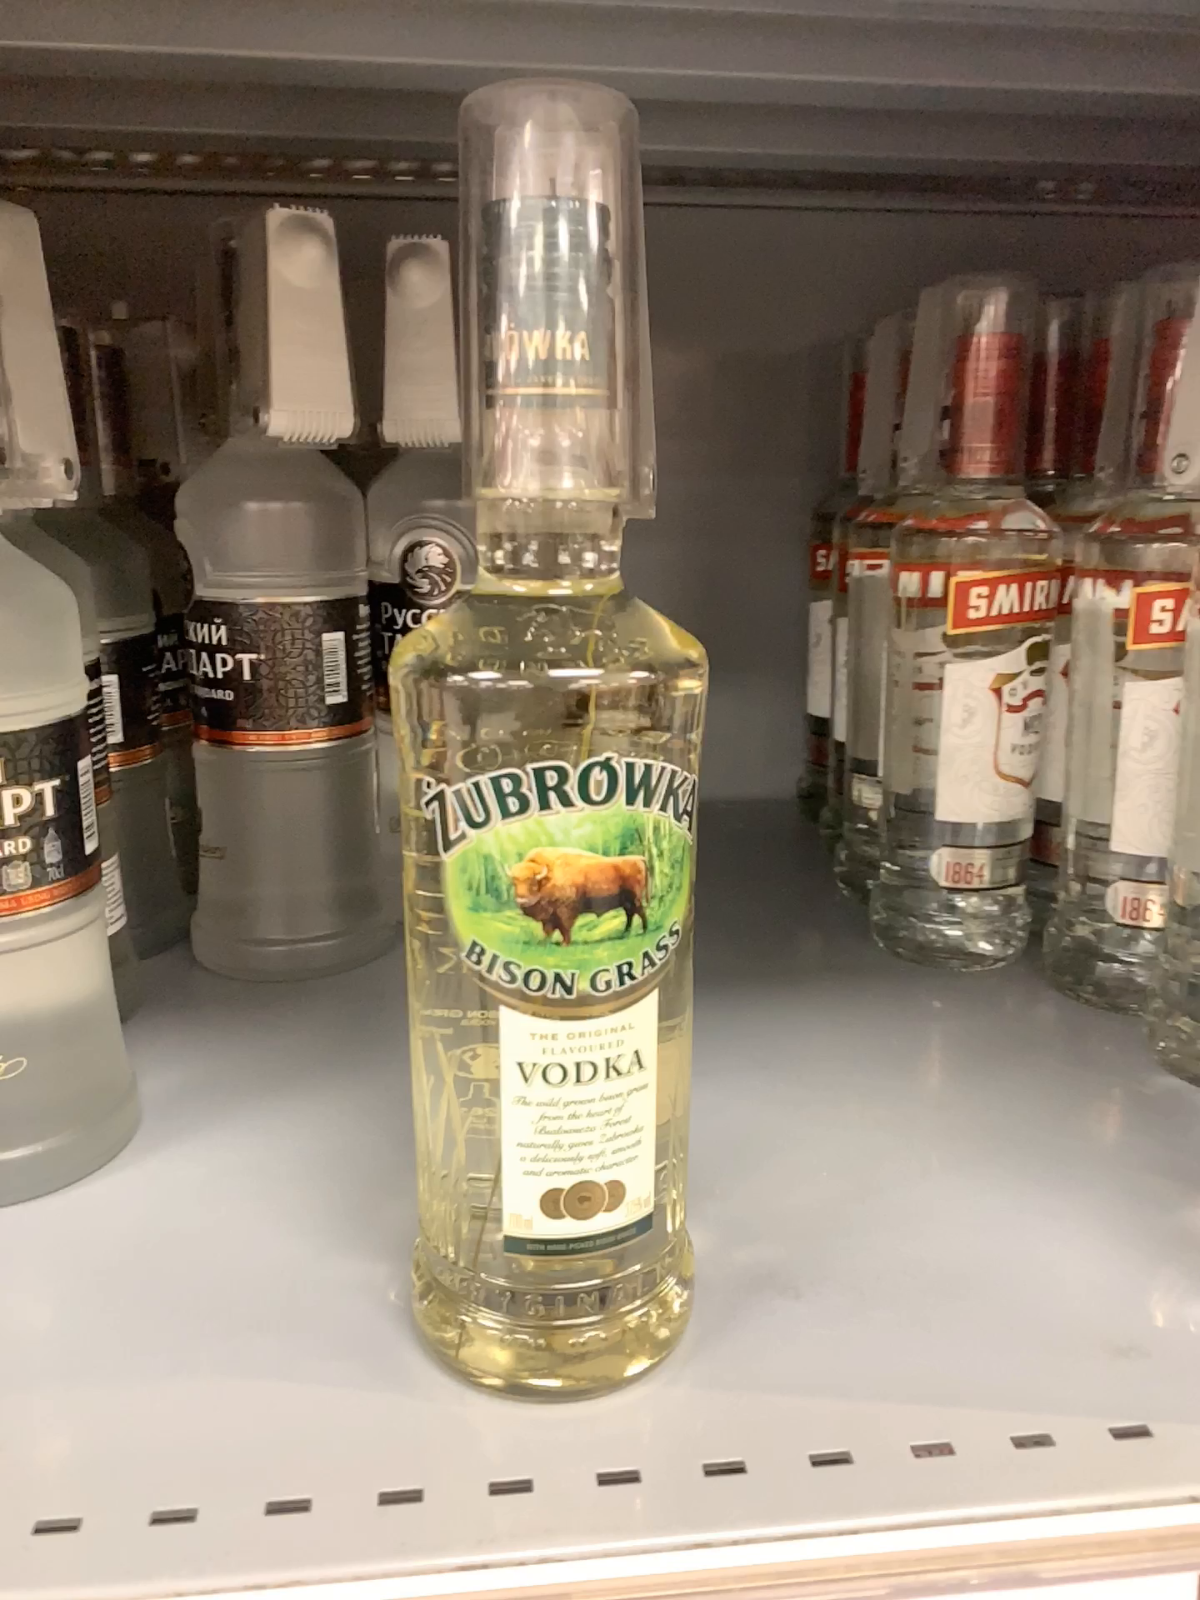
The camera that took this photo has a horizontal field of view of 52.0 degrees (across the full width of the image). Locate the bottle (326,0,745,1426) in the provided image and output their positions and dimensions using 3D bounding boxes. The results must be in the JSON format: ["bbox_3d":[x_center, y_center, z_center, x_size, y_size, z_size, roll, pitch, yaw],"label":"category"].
[{"bbox_3d":[-0.016,-0.010,0.292,0.076,0.303,0.069,-2,14,-8],"label":"bottle"}]
